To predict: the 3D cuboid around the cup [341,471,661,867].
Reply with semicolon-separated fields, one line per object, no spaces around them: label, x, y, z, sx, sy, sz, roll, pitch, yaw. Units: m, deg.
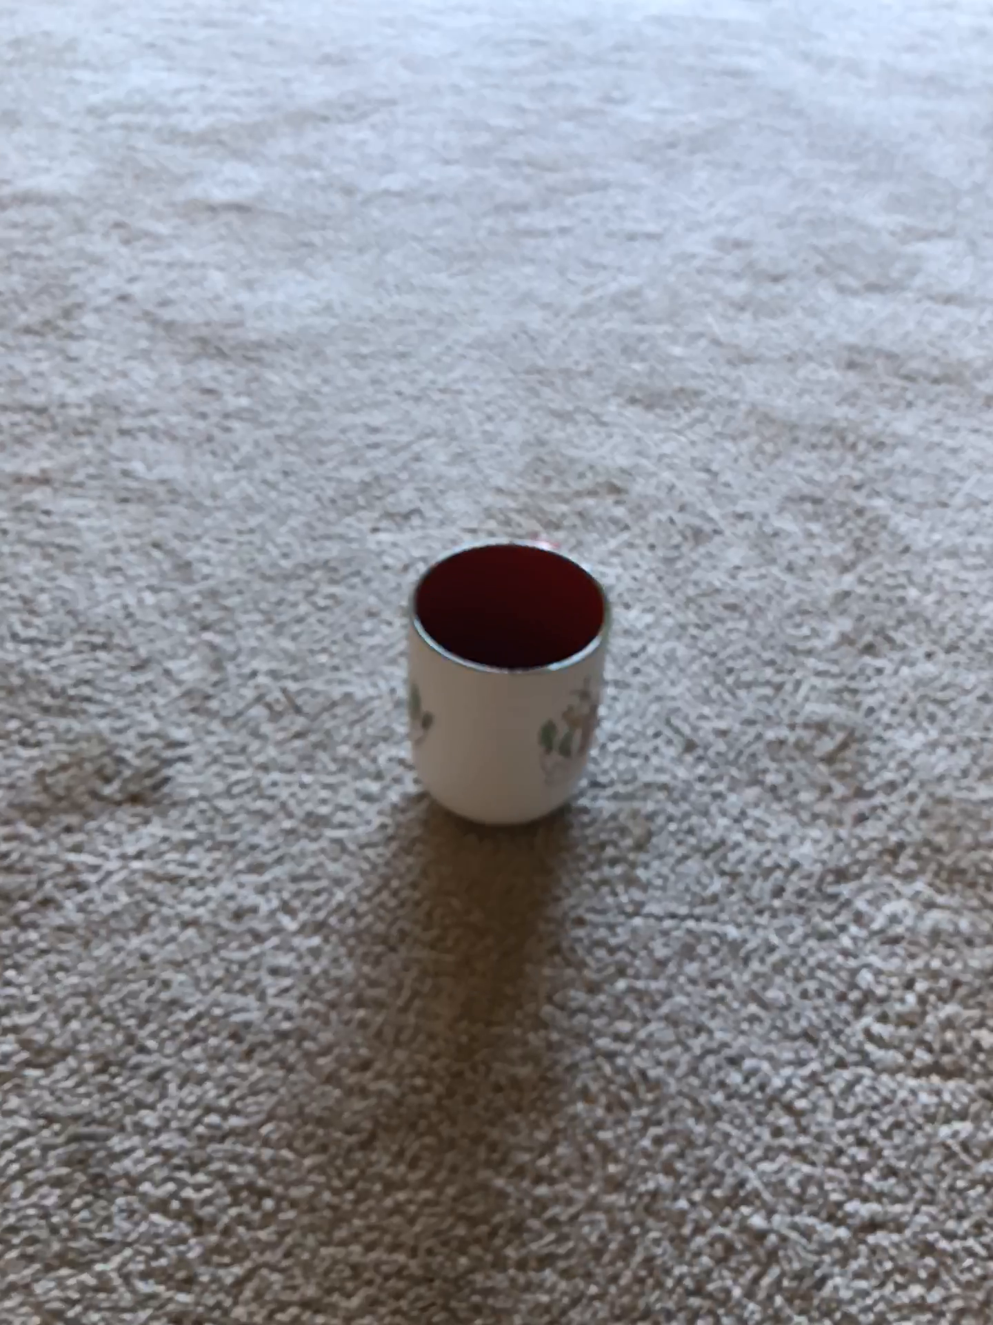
cup;0.007;-0.002;0.505;0.100;0.090;0.141;13;45;11
